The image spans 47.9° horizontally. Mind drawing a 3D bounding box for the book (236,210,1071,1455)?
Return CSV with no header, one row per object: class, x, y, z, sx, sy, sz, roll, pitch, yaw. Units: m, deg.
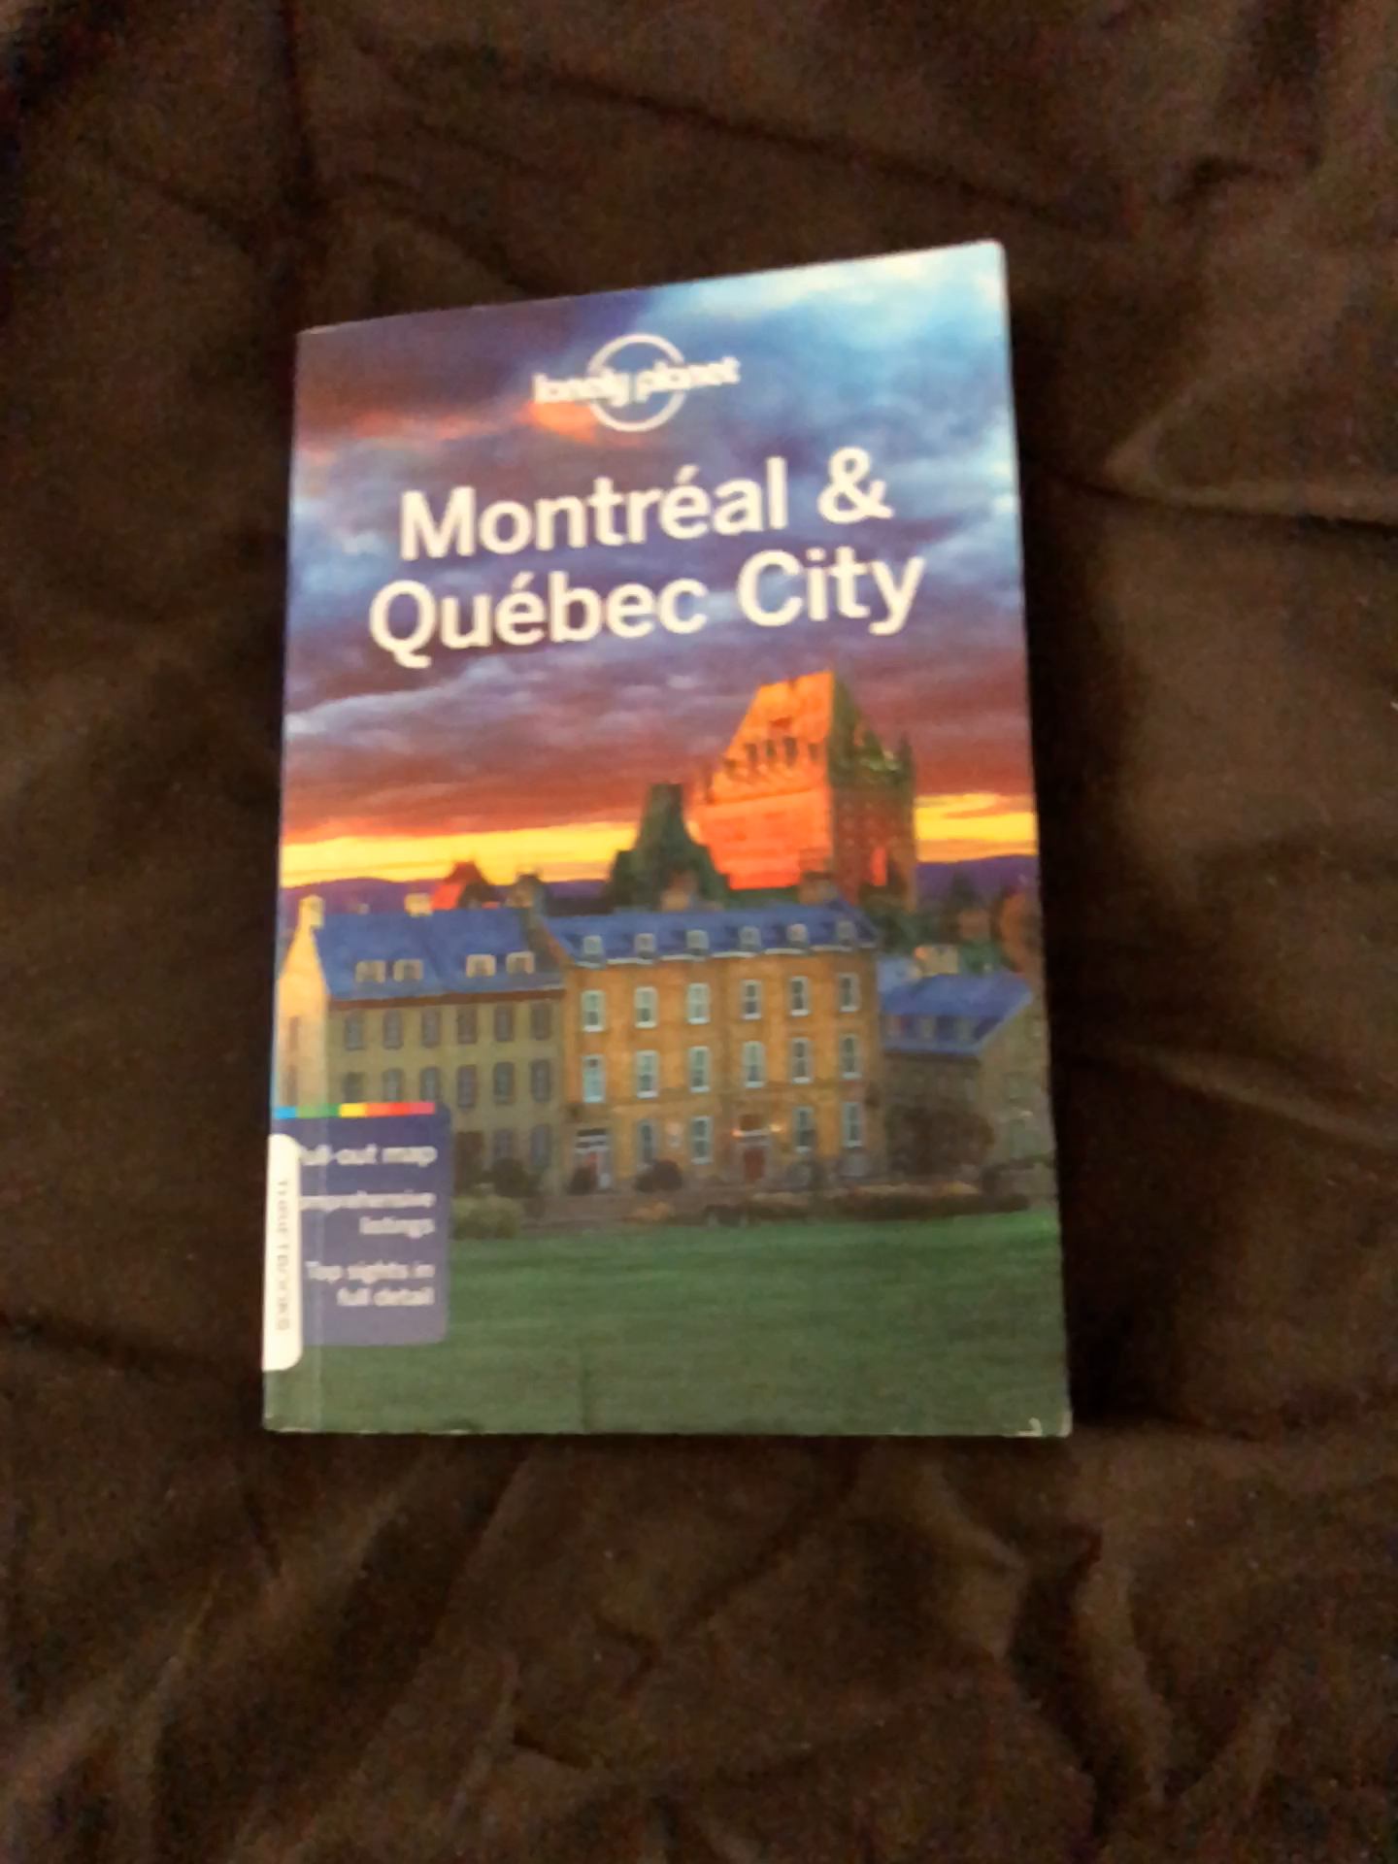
book,-0.010,-0.017,0.279,0.137,0.024,0.205,-3,80,12
